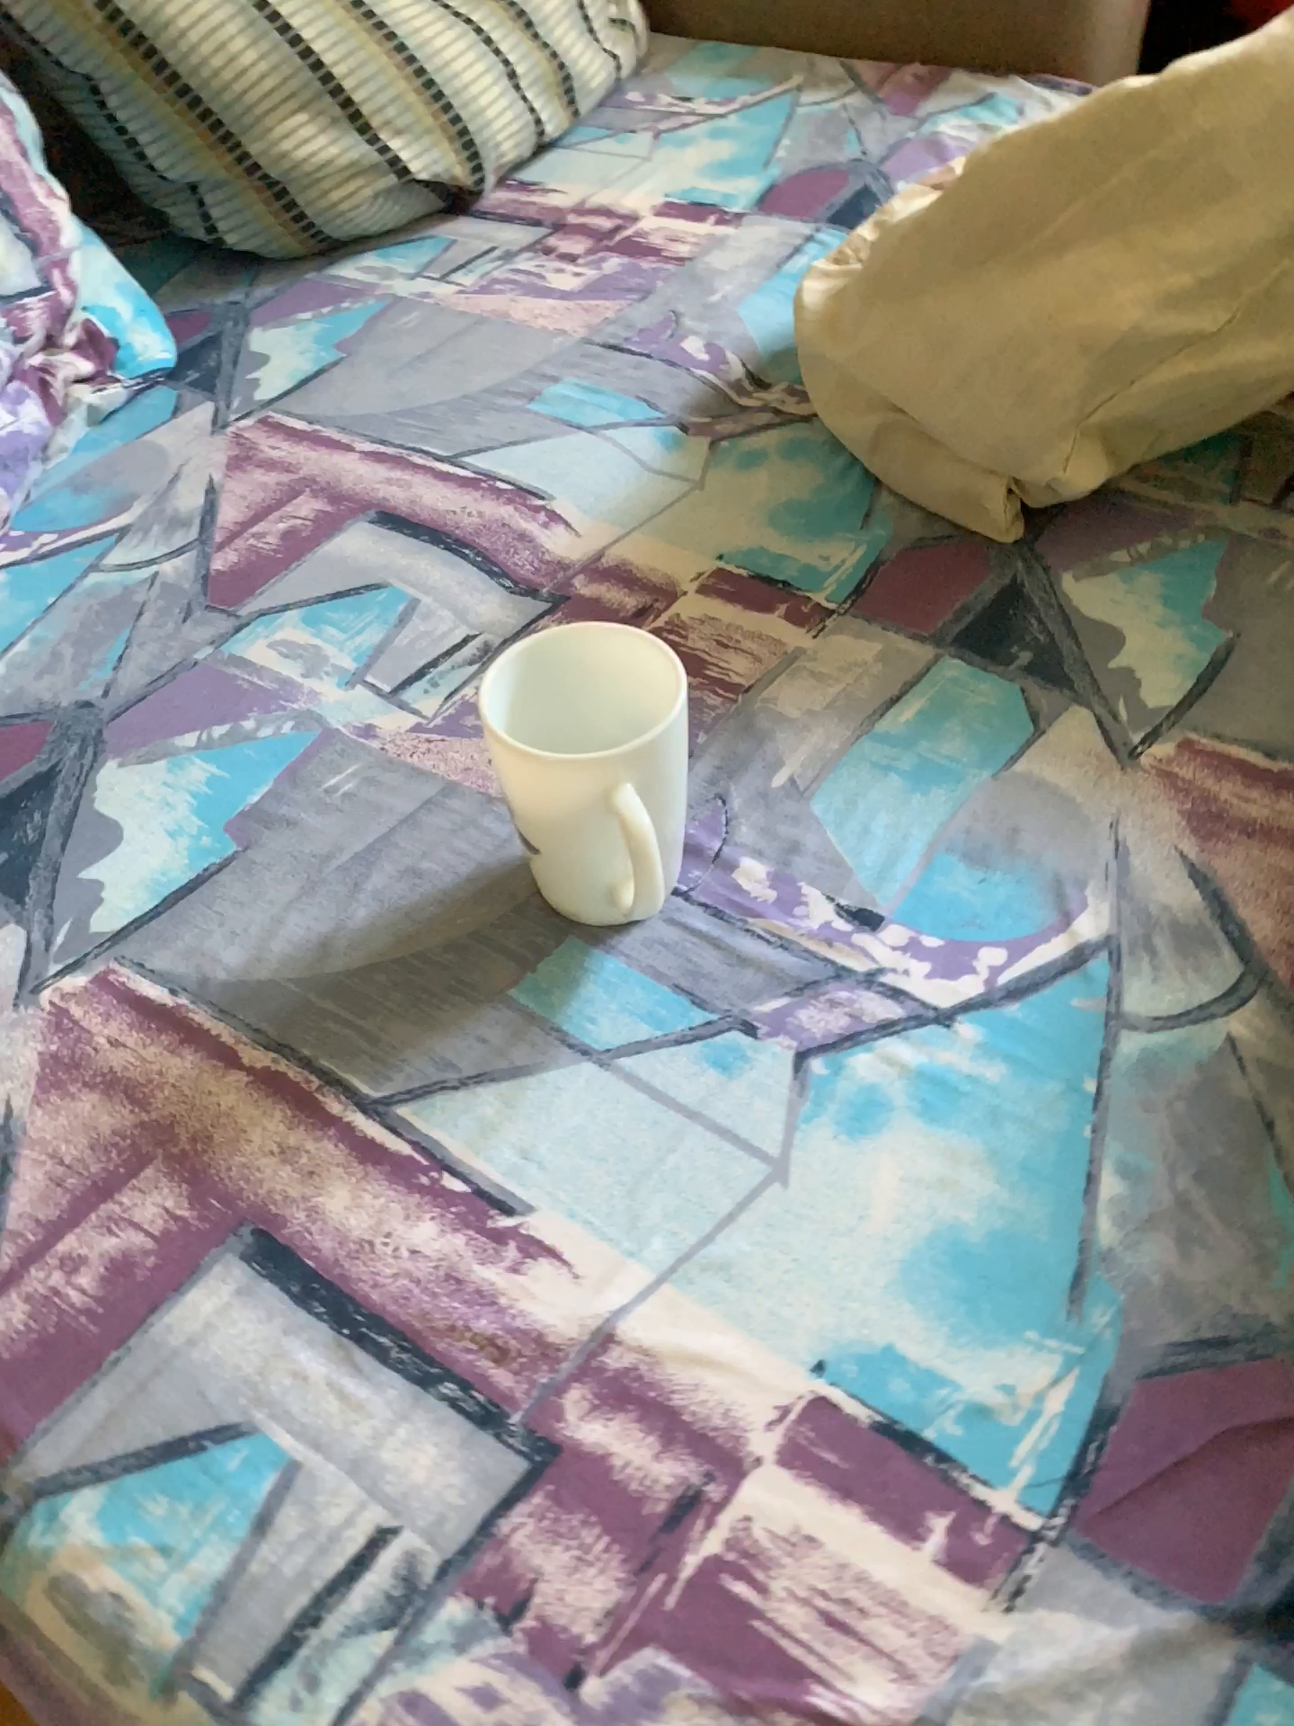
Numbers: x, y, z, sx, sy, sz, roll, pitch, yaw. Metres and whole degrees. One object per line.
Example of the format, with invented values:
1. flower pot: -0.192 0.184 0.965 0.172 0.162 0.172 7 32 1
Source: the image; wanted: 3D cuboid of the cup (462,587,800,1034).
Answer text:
1. cup: -0.005 -0.022 0.511 0.080 0.099 0.121 -22 49 -12
